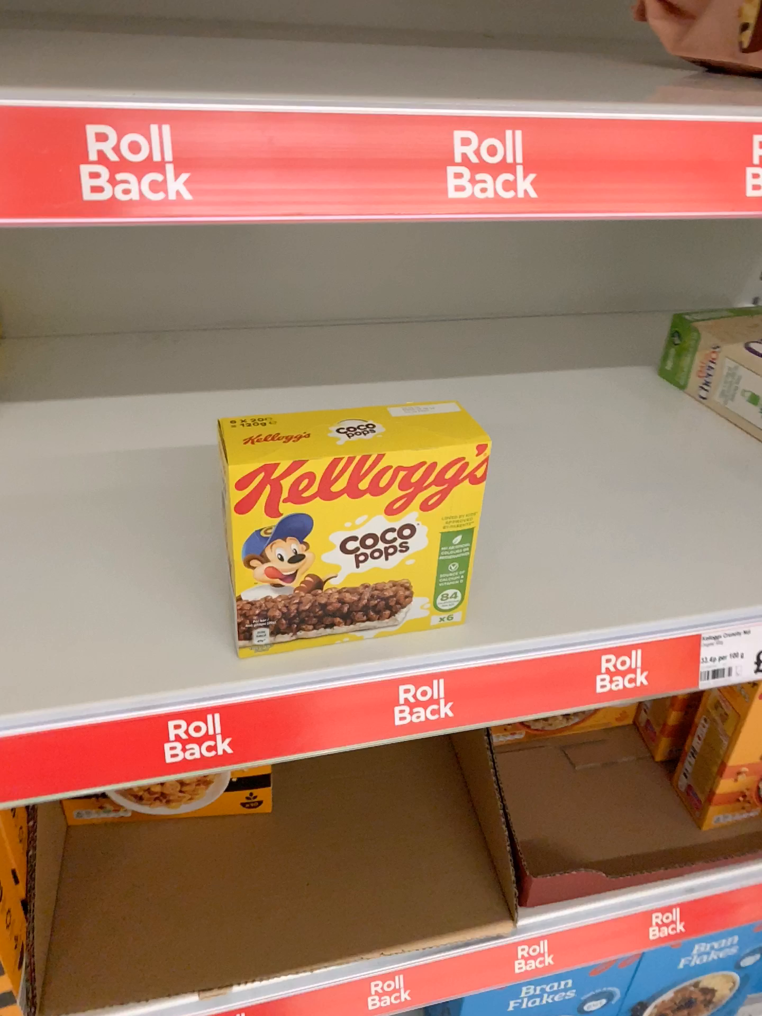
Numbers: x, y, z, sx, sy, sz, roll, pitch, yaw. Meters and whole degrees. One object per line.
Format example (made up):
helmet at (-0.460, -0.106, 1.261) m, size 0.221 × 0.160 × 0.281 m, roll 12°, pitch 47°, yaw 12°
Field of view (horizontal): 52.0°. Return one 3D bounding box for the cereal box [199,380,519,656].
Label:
cereal box at (-0.015, 0.003, 0.424) m, size 0.150 × 0.119 × 0.060 m, roll -7°, pitch 35°, yaw -15°
